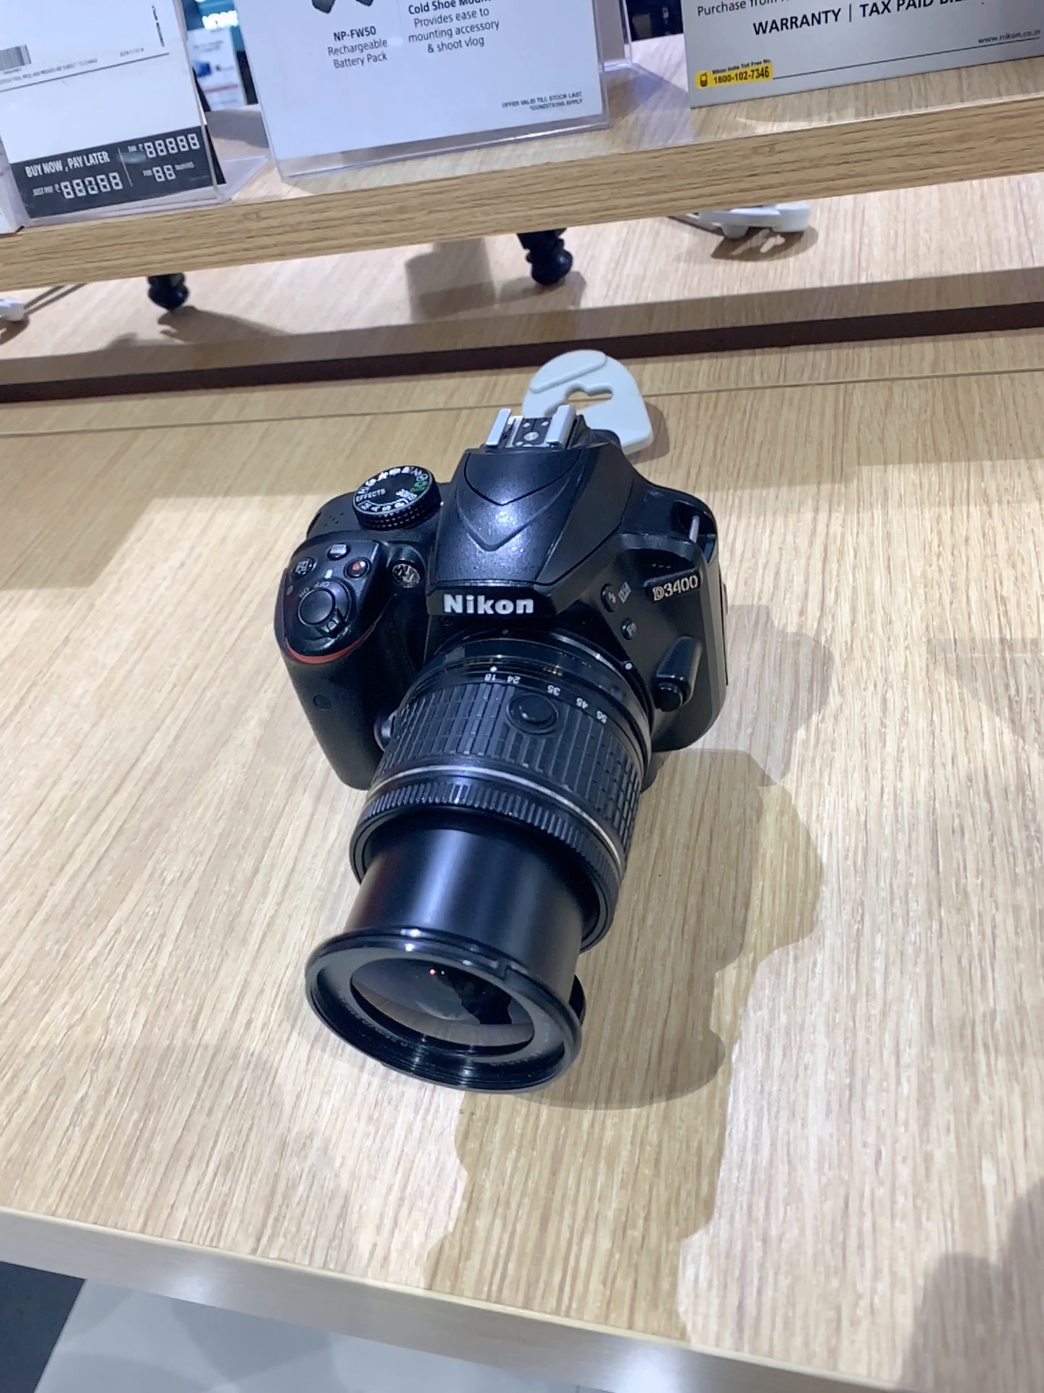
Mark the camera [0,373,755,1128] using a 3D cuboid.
[{"bbox_3d":[-0.013,0.006,0.256,0.120,0.094,0.140,0,45,18],"label":"camera"}]
